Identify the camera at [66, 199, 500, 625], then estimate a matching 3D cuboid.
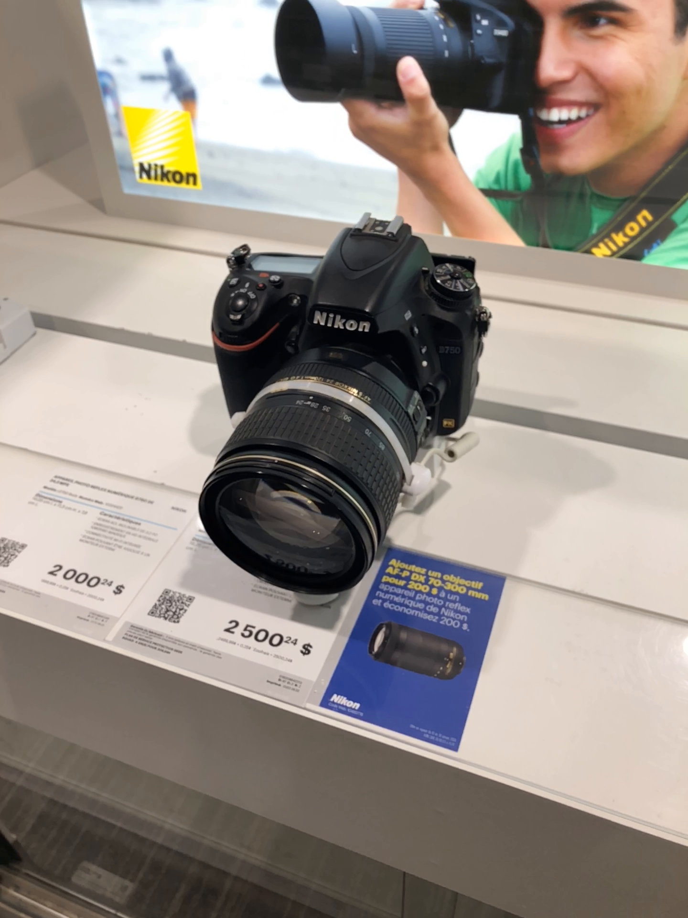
[{"bbox_3d":[-0.012,-0.038,0.376,0.138,0.099,0.184,11,42,15],"label":"camera"}]
